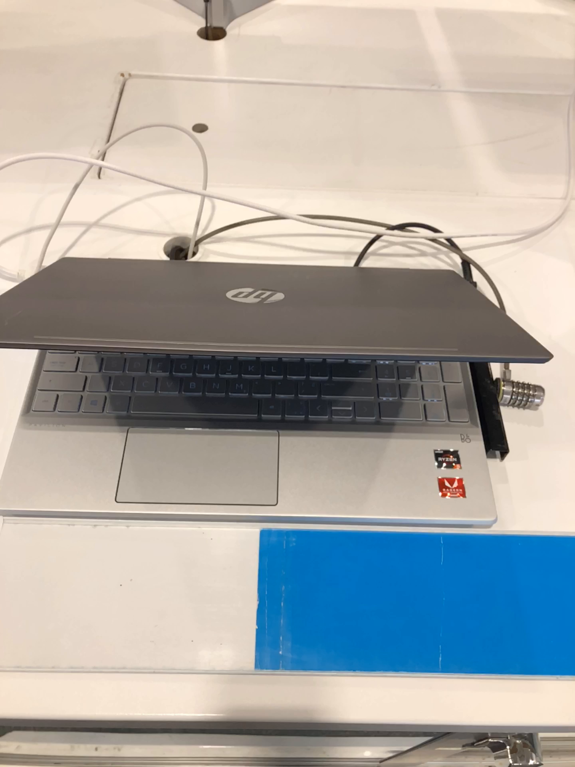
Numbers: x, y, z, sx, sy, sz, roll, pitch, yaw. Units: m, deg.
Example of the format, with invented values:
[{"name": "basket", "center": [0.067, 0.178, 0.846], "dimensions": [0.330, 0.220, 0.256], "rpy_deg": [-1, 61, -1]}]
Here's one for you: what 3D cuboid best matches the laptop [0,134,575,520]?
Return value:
[{"name": "laptop", "center": [-0.022, -0.043, 0.454], "dimensions": [0.350, 0.134, 0.231], "rpy_deg": [2, 56, -1]}]
